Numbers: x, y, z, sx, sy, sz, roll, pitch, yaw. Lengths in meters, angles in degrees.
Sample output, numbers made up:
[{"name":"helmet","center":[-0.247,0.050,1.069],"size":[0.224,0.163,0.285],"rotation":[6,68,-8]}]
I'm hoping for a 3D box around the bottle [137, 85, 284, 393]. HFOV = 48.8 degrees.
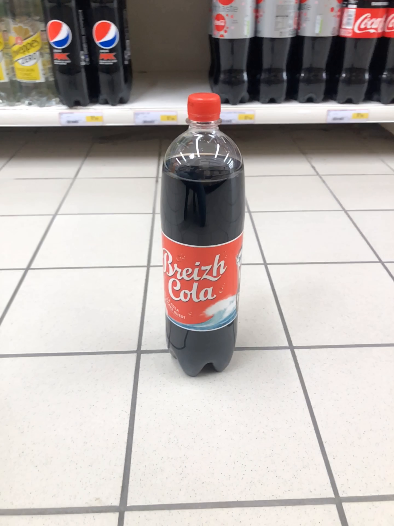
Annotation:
[{"name":"bottle","center":[0.015,-0.018,0.475],"size":[0.100,0.308,0.101],"rotation":[0,31,0]}]
